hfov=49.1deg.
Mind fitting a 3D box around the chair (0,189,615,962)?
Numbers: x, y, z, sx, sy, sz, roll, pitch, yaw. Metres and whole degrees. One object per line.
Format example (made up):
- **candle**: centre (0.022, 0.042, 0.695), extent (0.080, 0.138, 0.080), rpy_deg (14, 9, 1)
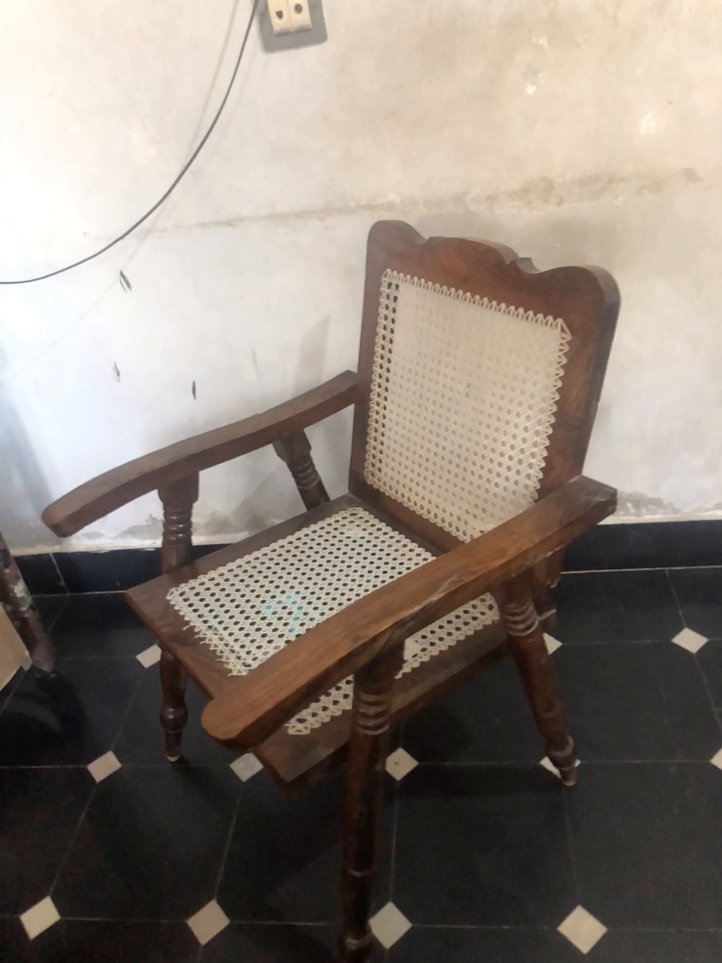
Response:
- **chair**: centre (-0.076, 0.105, 1.107), extent (0.562, 0.796, 0.581), rpy_deg (-30, 39, -28)
